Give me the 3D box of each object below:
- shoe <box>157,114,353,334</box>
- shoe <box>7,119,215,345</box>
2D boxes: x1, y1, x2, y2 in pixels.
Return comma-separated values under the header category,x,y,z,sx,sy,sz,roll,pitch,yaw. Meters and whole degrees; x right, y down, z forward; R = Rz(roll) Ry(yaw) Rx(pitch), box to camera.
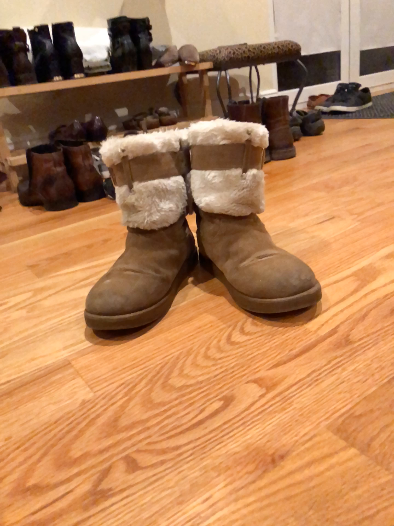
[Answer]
category,x,y,z,sx,sy,sz,roll,pitch,yaw
shoe,0.058,-0.071,0.530,0.113,0.193,0.255,-16,23,-17
shoe,-0.076,-0.056,0.536,0.106,0.193,0.255,0,24,20
